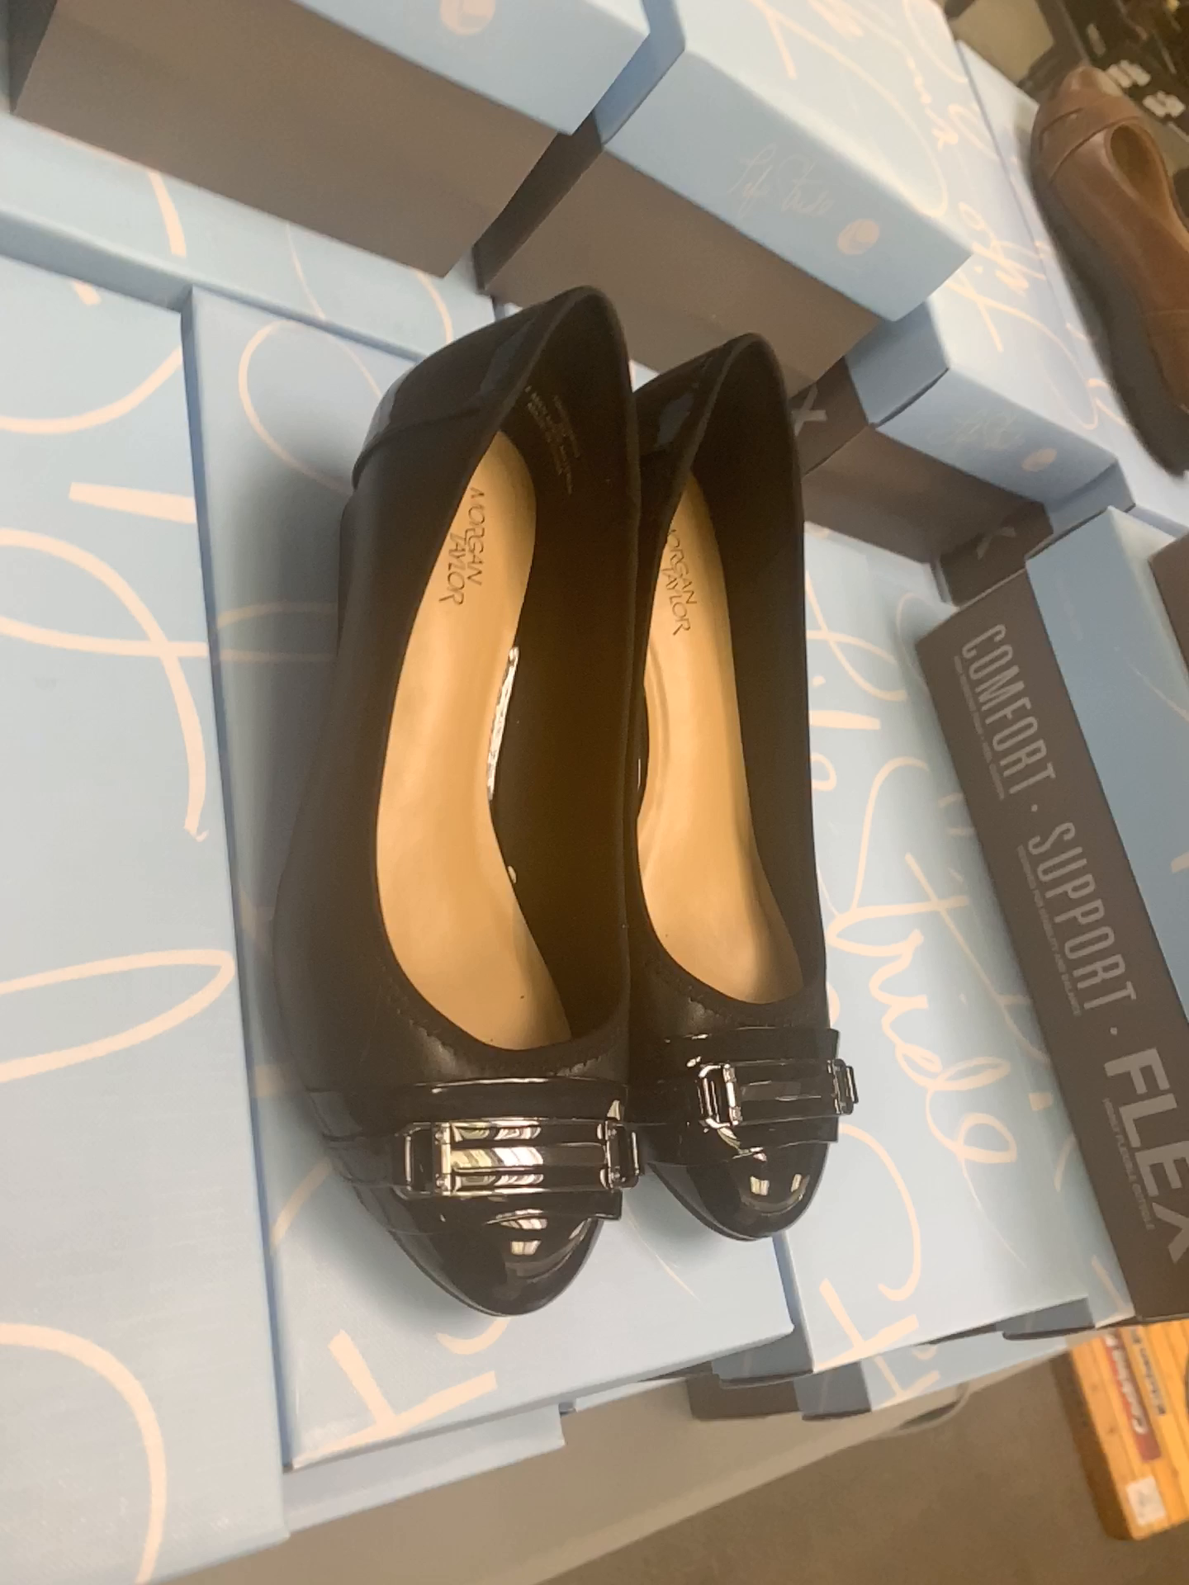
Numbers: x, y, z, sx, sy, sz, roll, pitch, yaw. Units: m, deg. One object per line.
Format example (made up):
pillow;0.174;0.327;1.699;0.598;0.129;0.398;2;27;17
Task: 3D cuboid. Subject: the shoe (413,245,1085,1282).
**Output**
shoe;0.030;-0.009;0.342;0.091;0.095;0.251;6;63;-39

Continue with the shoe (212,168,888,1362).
shoe;-0.025;-0.008;0.293;0.091;0.095;0.245;9;61;-38
